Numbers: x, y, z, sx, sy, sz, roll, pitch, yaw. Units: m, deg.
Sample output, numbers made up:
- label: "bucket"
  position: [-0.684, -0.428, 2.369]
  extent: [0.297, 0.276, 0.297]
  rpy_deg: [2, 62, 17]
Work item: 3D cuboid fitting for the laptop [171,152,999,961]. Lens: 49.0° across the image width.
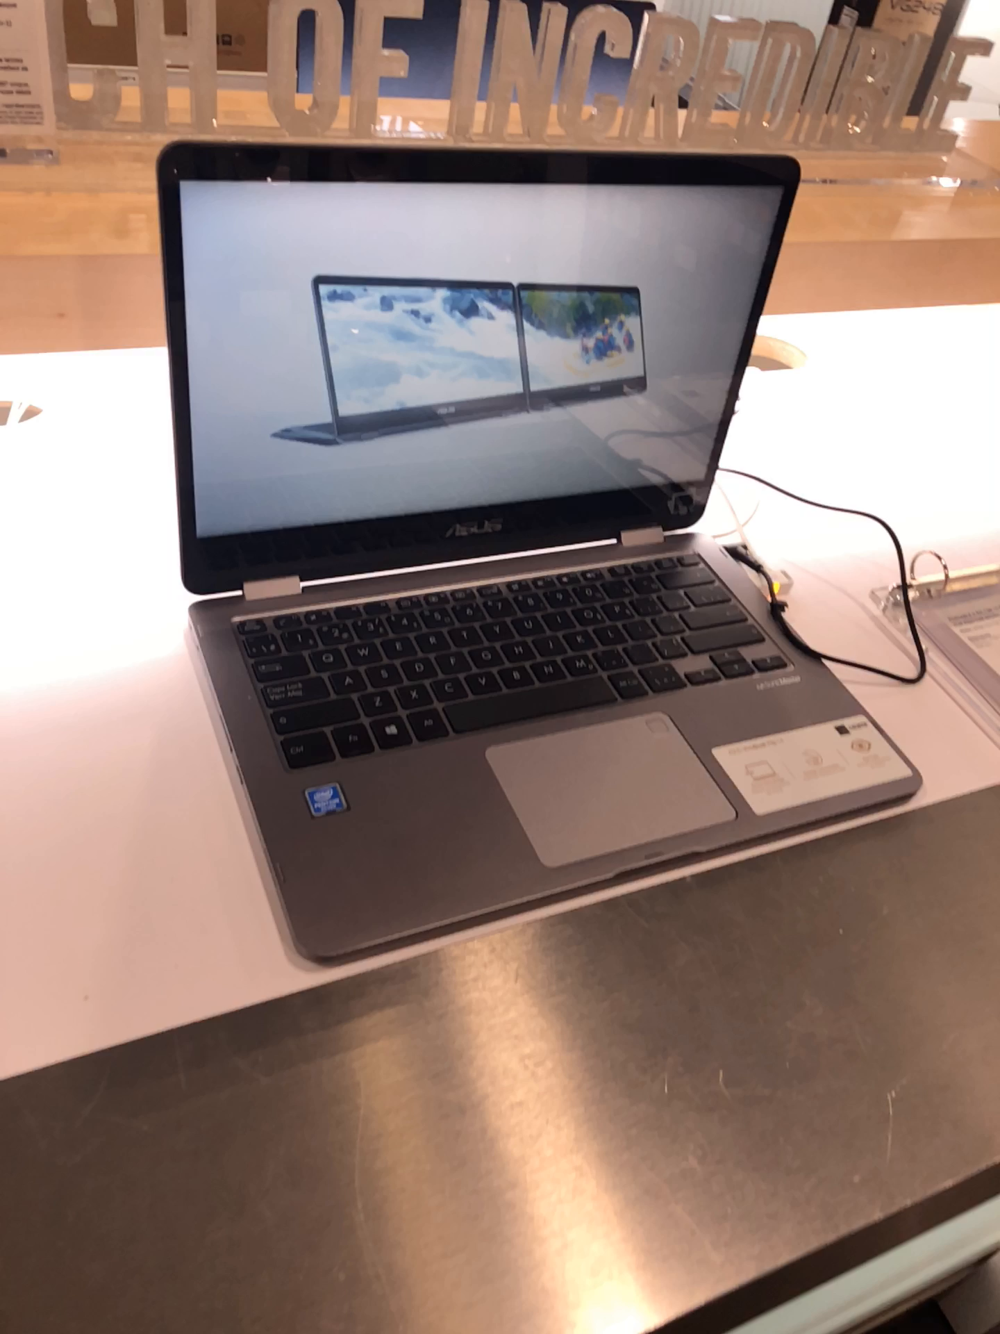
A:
- label: "laptop"
  position: [0.042, -0.063, 0.459]
  extent: [0.303, 0.210, 0.211]
  rpy_deg: [-10, 47, -23]
